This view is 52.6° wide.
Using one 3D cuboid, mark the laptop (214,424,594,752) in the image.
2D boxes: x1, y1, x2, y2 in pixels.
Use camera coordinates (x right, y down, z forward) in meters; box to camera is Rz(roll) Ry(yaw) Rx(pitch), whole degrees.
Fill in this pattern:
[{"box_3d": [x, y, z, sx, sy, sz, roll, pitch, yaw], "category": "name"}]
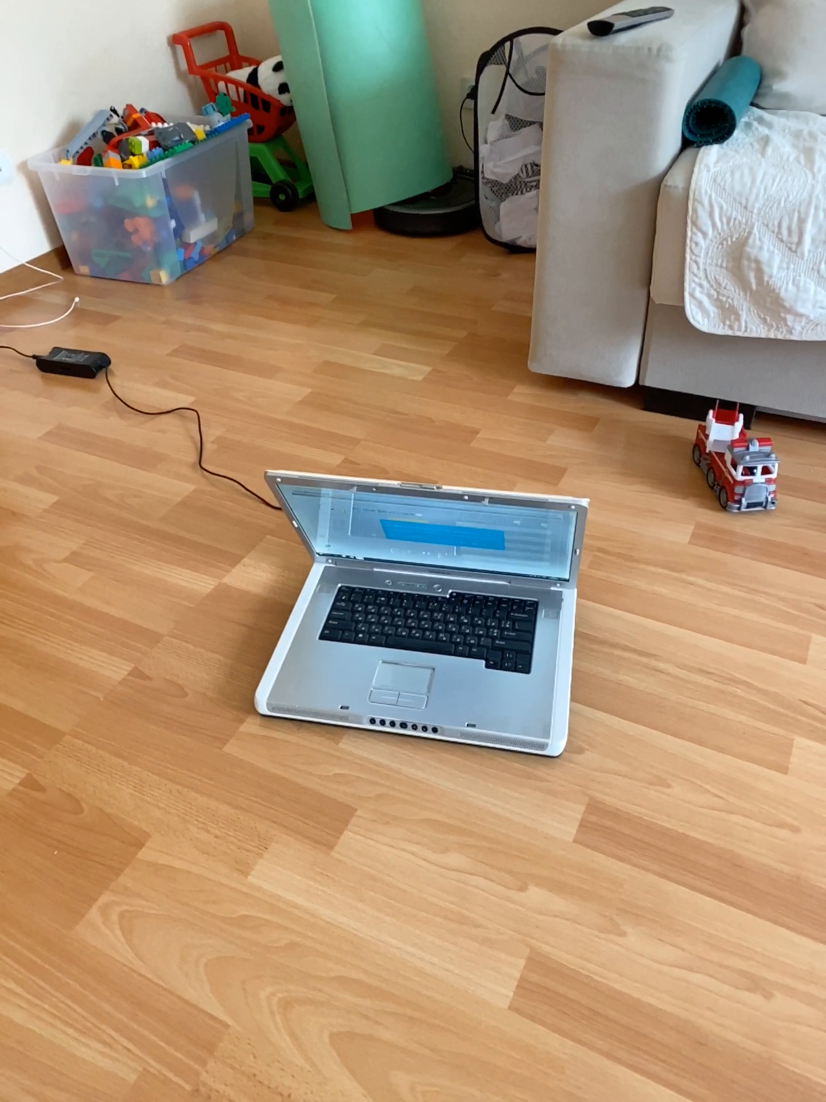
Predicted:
[{"box_3d": [0.010, 0.032, 1.025, 0.386, 0.238, 0.275, 6, 39, 10], "category": "laptop"}]
